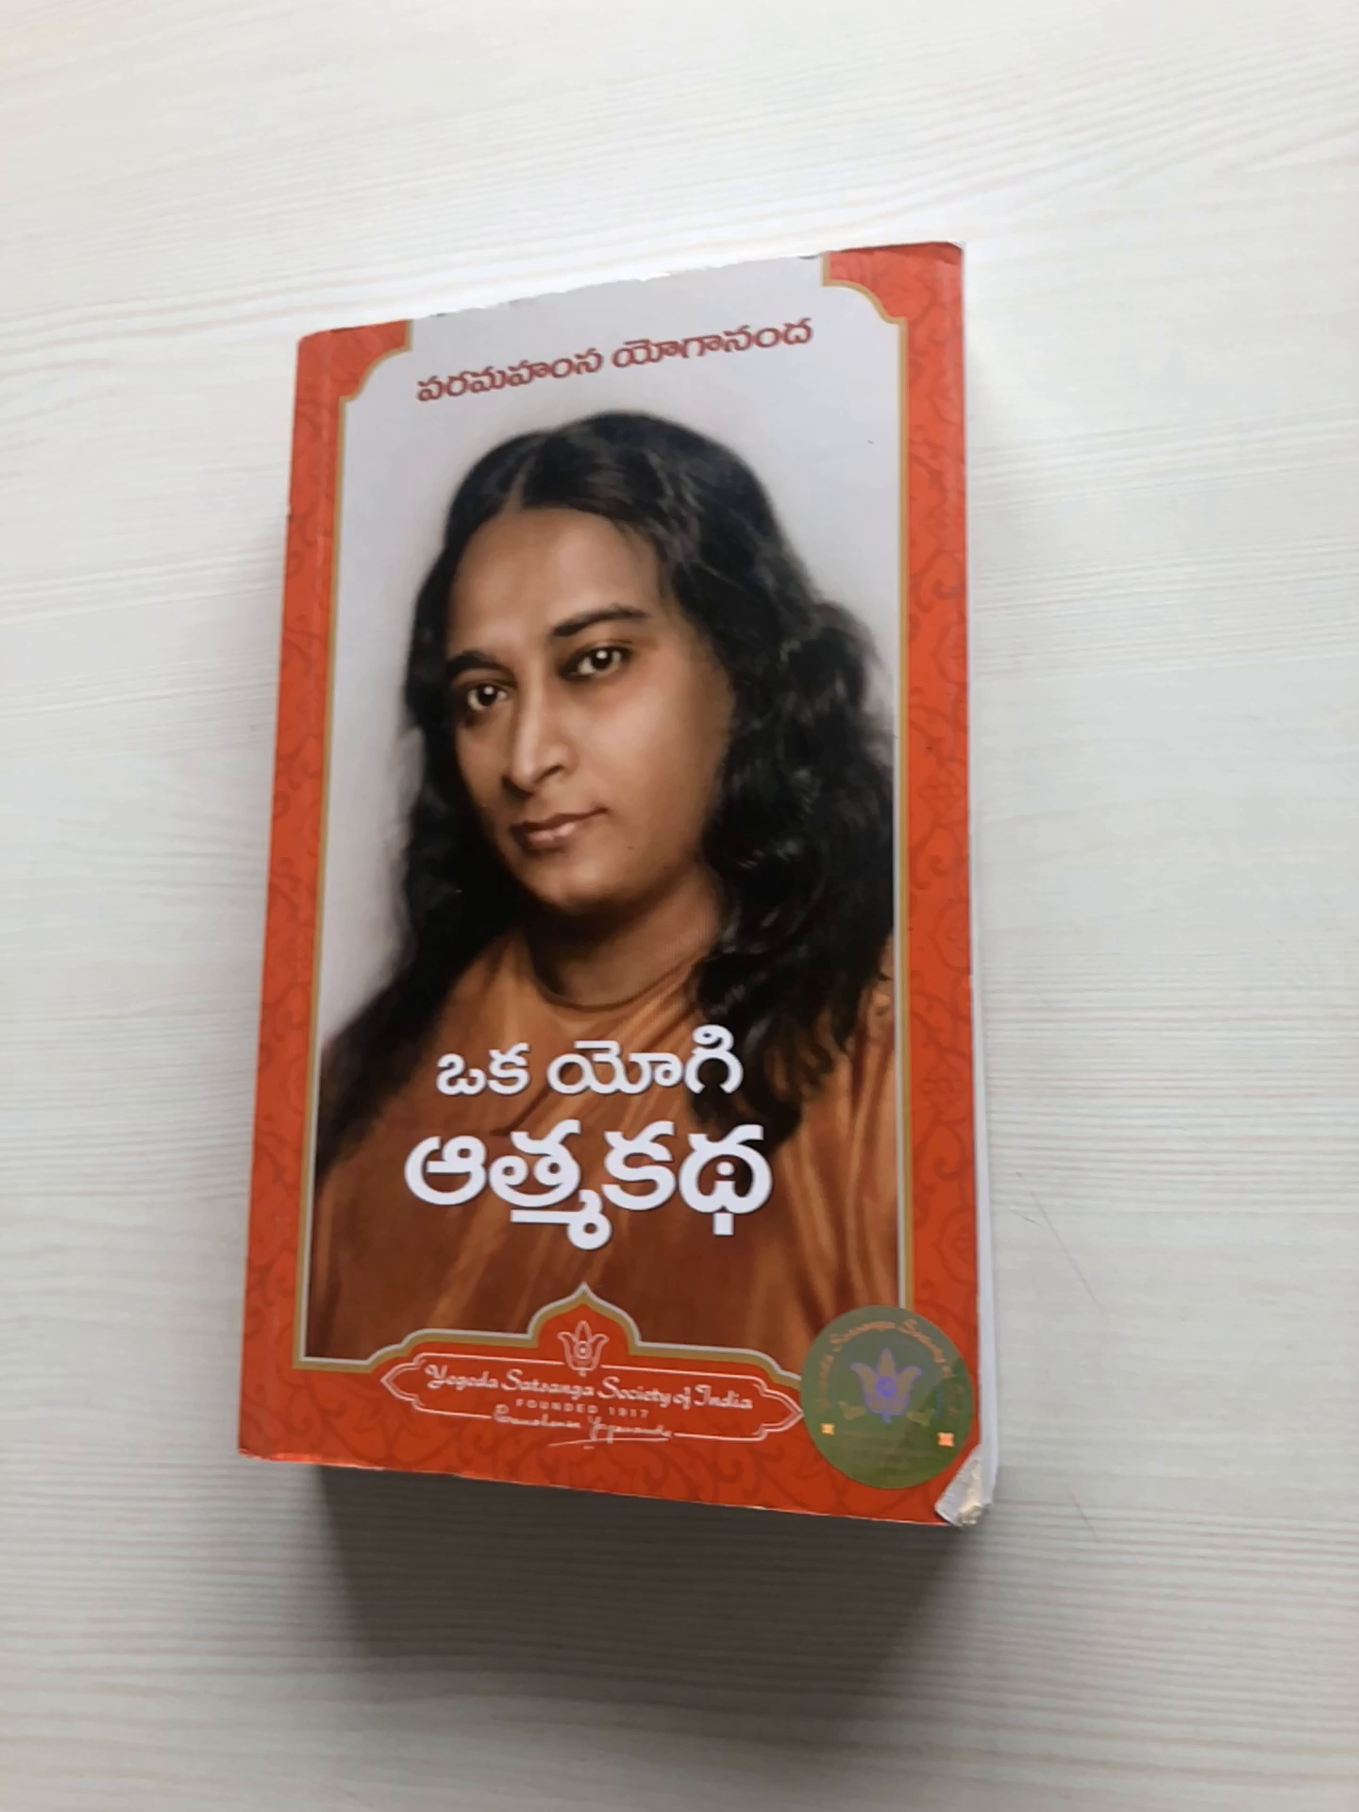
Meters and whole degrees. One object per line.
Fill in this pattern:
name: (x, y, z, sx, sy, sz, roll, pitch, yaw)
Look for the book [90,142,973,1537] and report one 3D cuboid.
book: (-0.024, -0.015, 0.285, 0.150, 0.040, 0.233, -2, 80, 15)
